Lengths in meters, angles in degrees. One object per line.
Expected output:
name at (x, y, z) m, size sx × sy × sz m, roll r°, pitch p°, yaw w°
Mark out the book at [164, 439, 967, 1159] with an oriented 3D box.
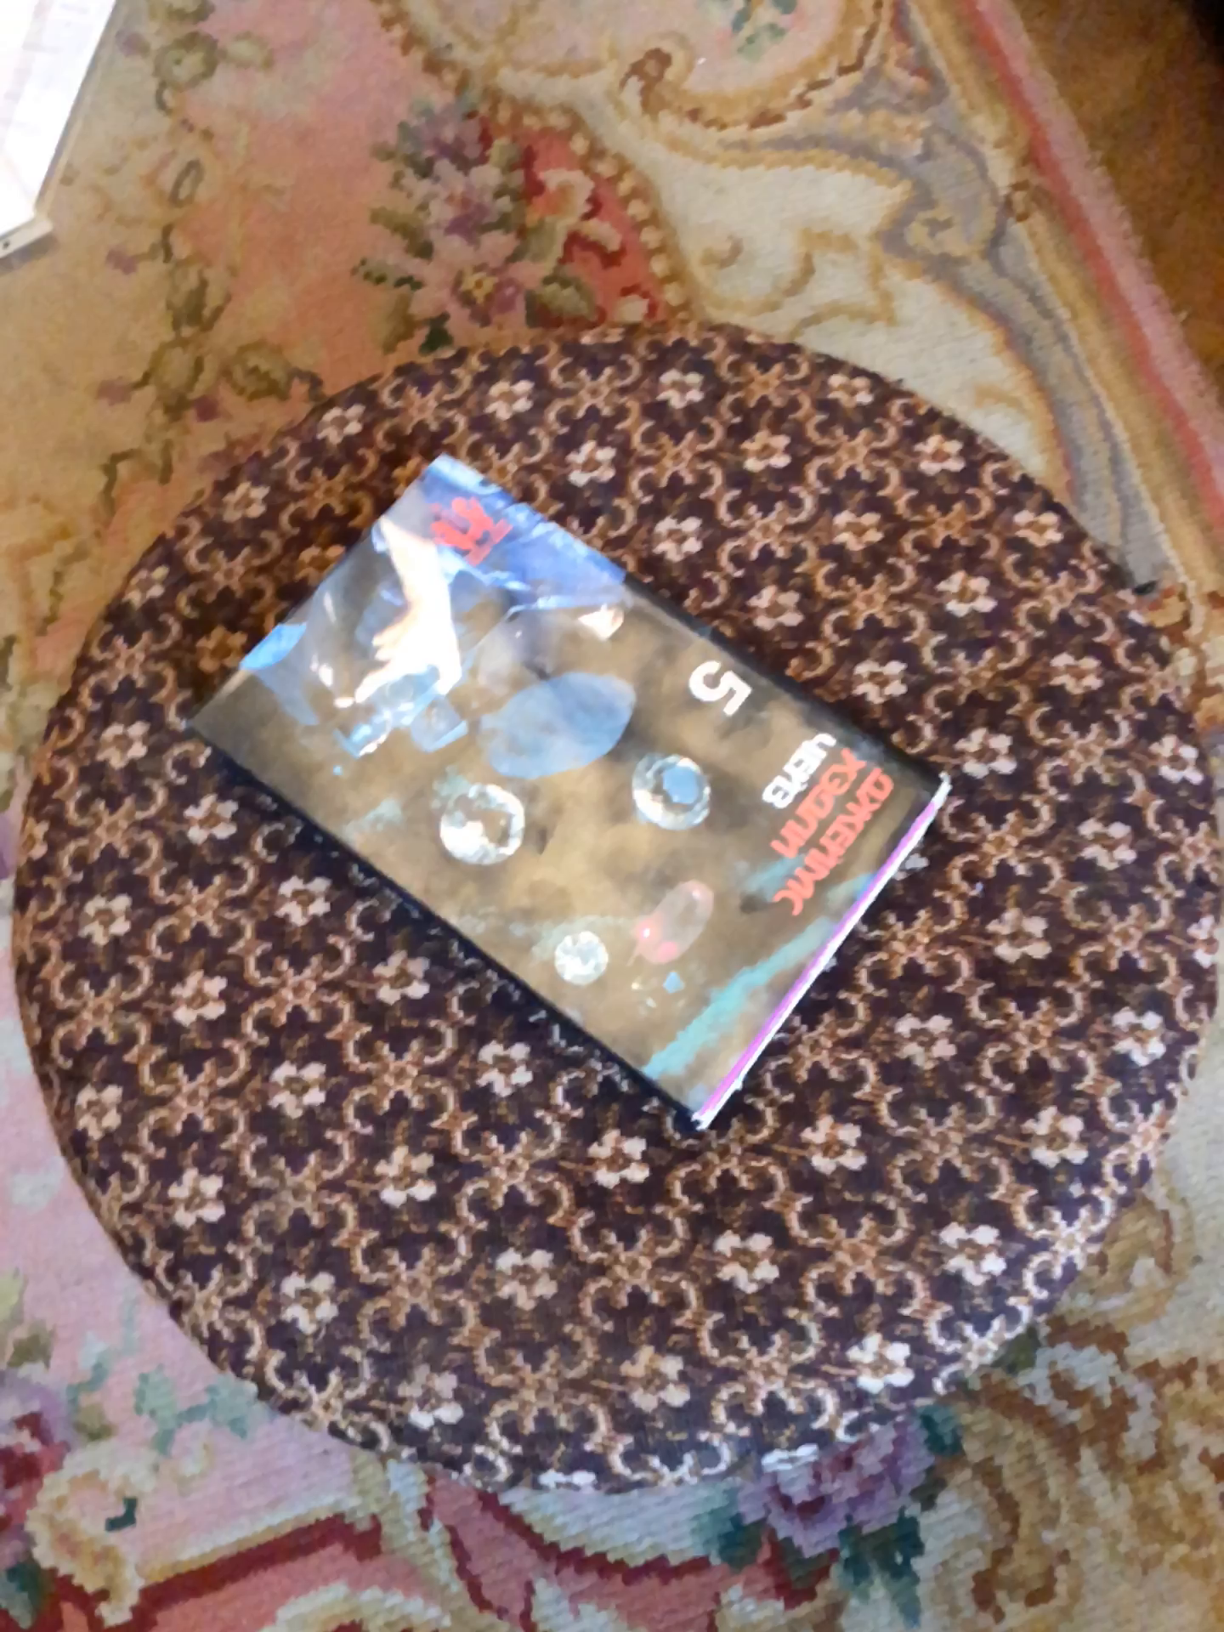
book at (-0.018, -0.016, 0.420) m, size 0.205 × 0.020 × 0.140 m, roll 36°, pitch 76°, yaw 18°
